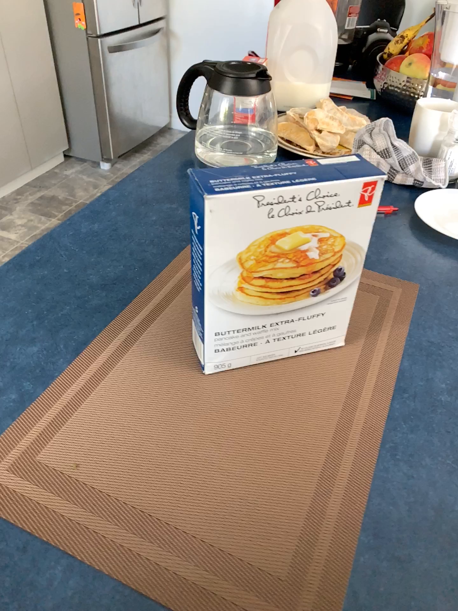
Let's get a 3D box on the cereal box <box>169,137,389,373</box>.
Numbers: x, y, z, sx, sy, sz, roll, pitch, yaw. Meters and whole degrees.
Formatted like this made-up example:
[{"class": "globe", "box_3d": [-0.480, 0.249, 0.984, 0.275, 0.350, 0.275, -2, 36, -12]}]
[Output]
[{"class": "cereal box", "box_3d": [0.036, -0.040, 0.442, 0.170, 0.208, 0.050, -9, 41, -14]}]
